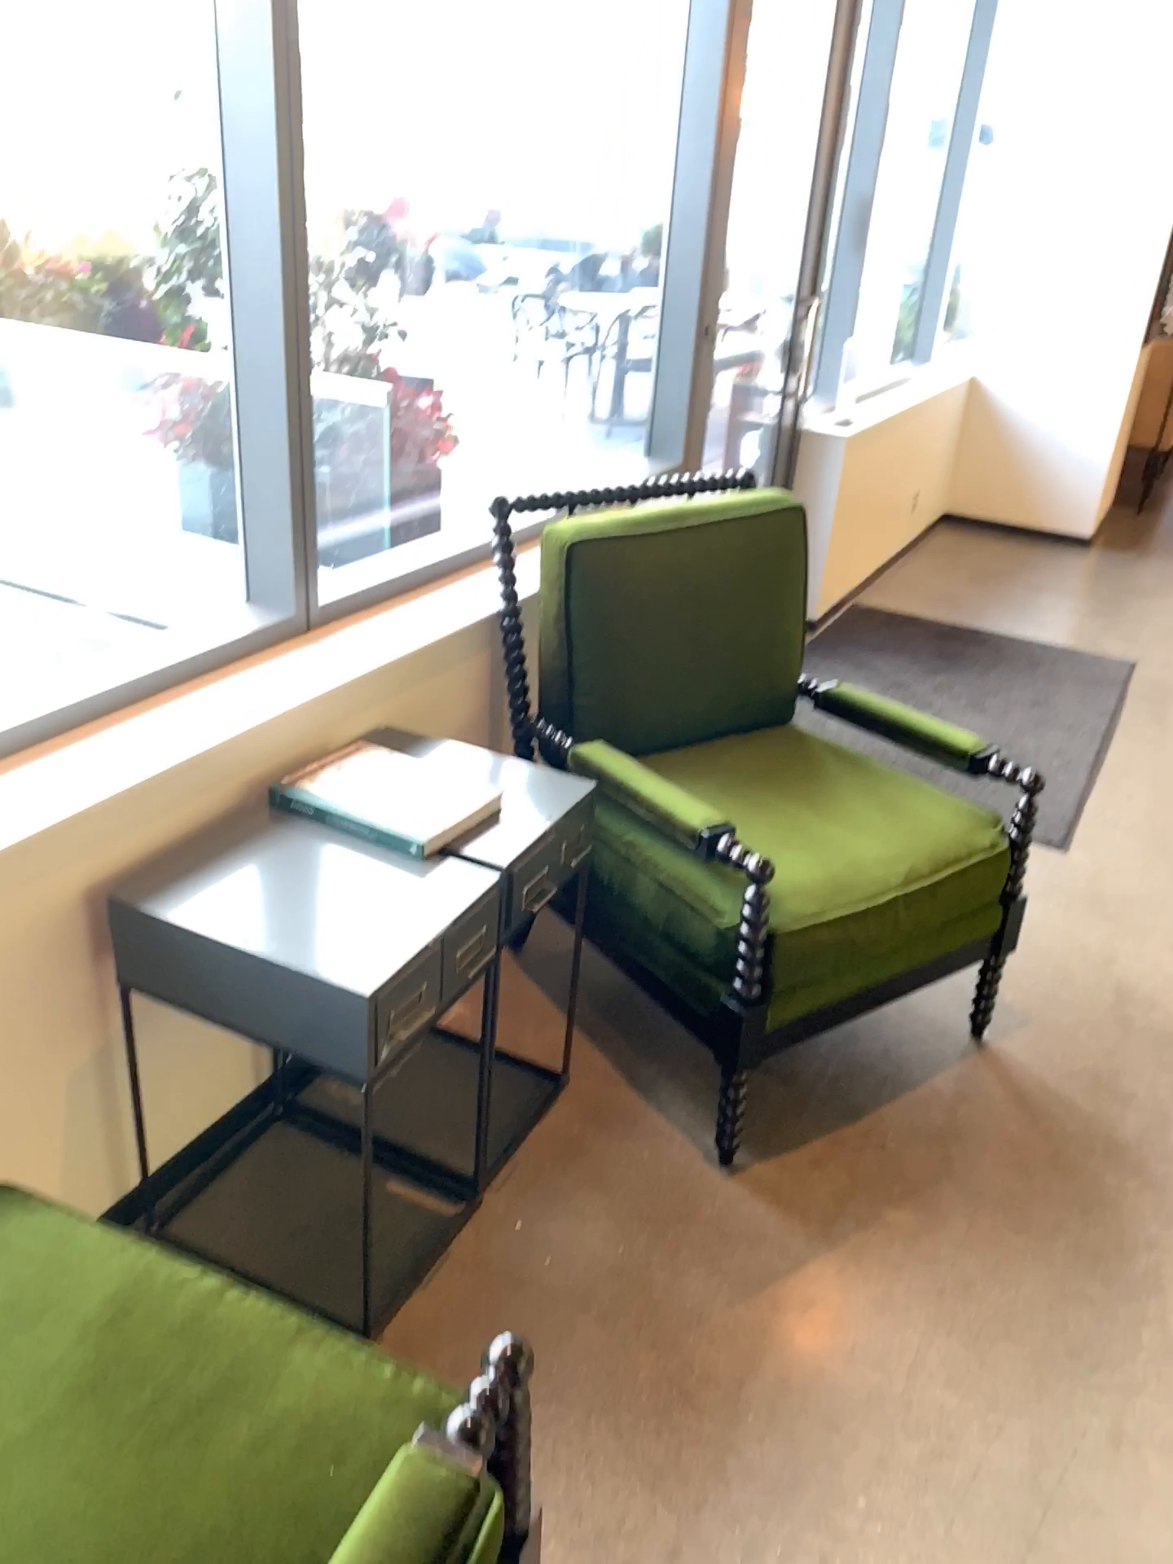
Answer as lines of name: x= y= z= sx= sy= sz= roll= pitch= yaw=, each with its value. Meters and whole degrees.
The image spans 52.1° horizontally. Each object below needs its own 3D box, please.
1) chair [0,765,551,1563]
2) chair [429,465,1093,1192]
chair: x=-0.570 y=0.686 z=0.851 sx=0.731 sy=0.974 sz=0.924 roll=14 pitch=28 yaw=18
chair: x=0.249 y=-0.003 z=2.376 sx=0.761 sy=0.984 sz=0.925 roll=-14 pitch=32 yaw=-32
